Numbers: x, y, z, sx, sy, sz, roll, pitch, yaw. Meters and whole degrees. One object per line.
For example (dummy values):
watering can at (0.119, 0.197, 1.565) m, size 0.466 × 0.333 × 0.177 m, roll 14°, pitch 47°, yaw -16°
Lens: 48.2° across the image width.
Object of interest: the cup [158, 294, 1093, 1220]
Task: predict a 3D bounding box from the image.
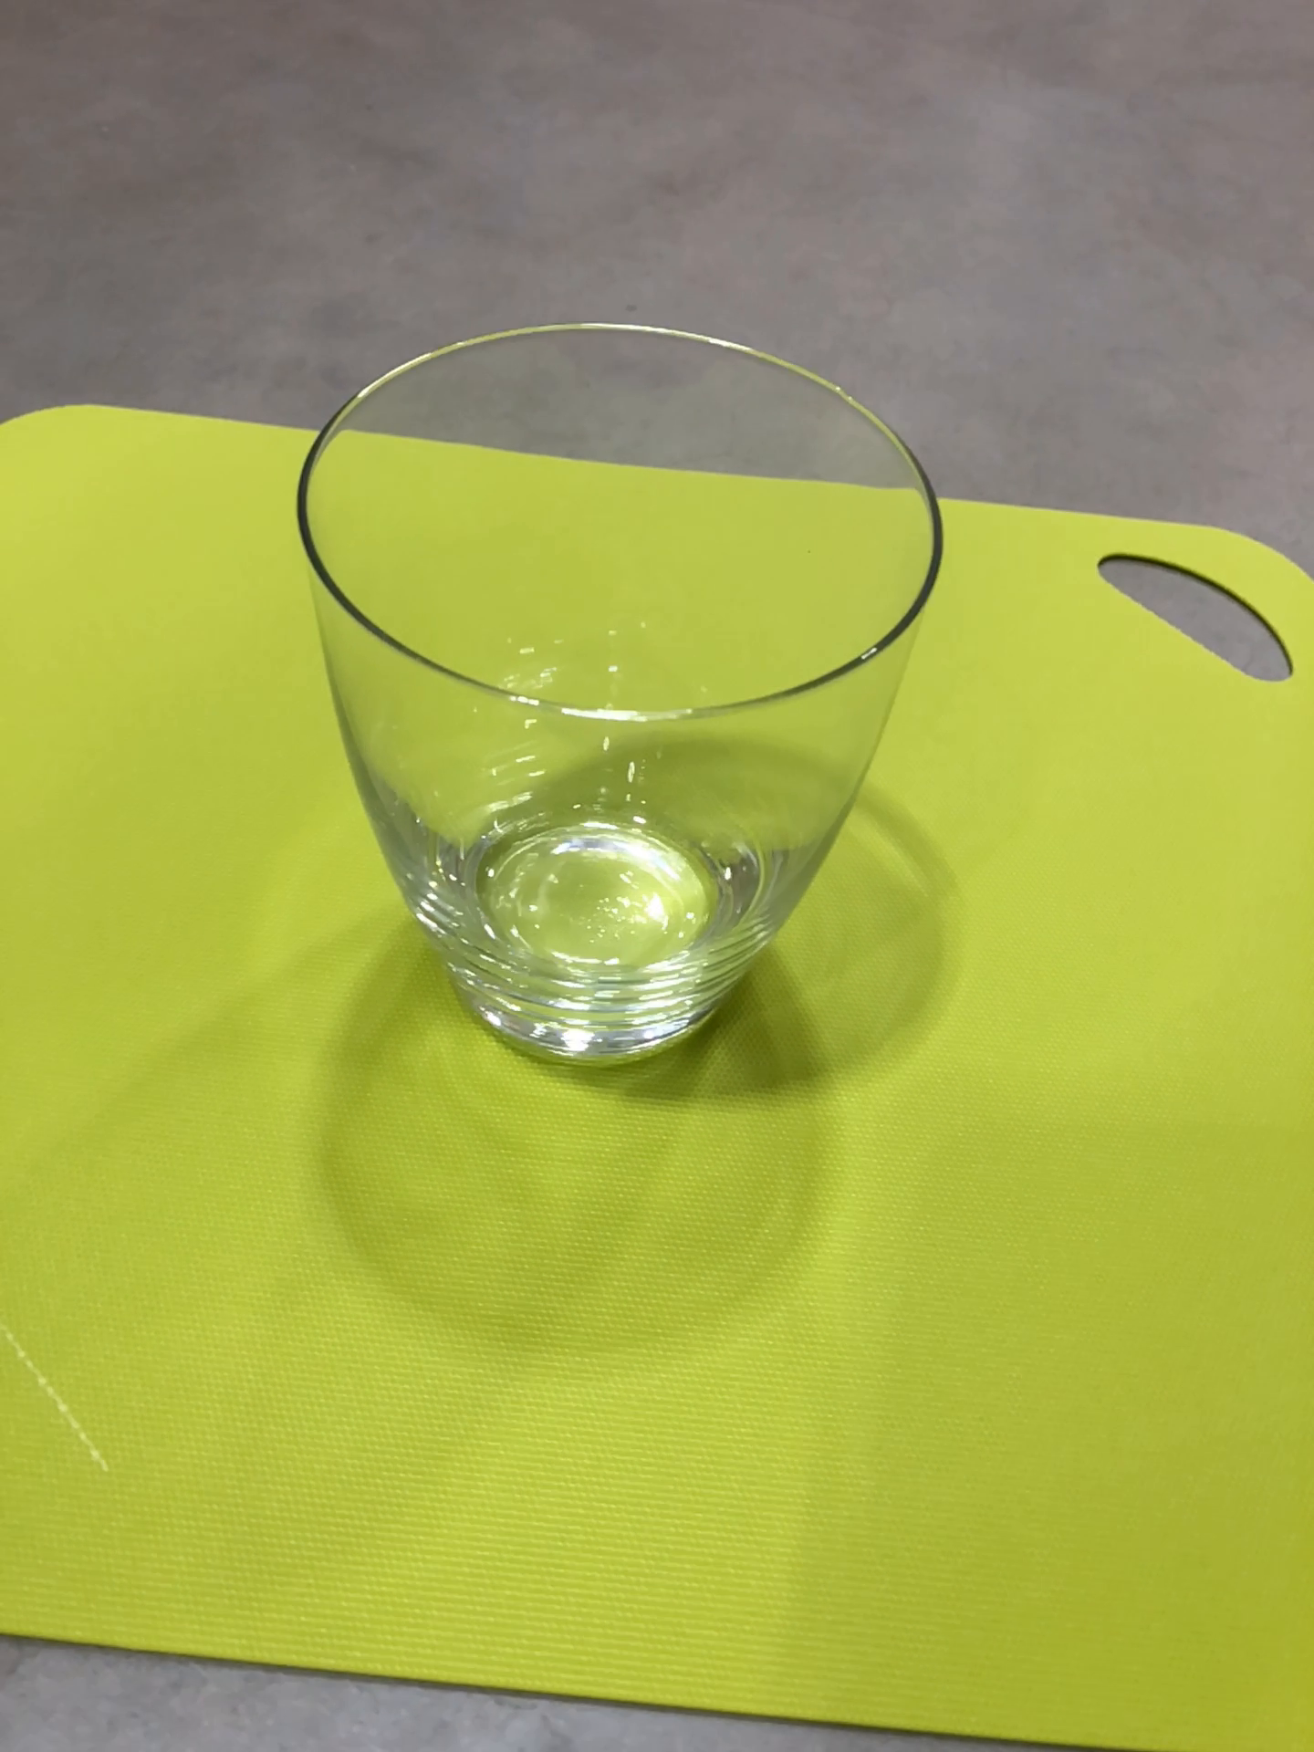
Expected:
cup at (-0.013, -0.025, 0.258) m, size 0.110 × 0.090 × 0.110 m, roll 3°, pitch 49°, yaw -3°
